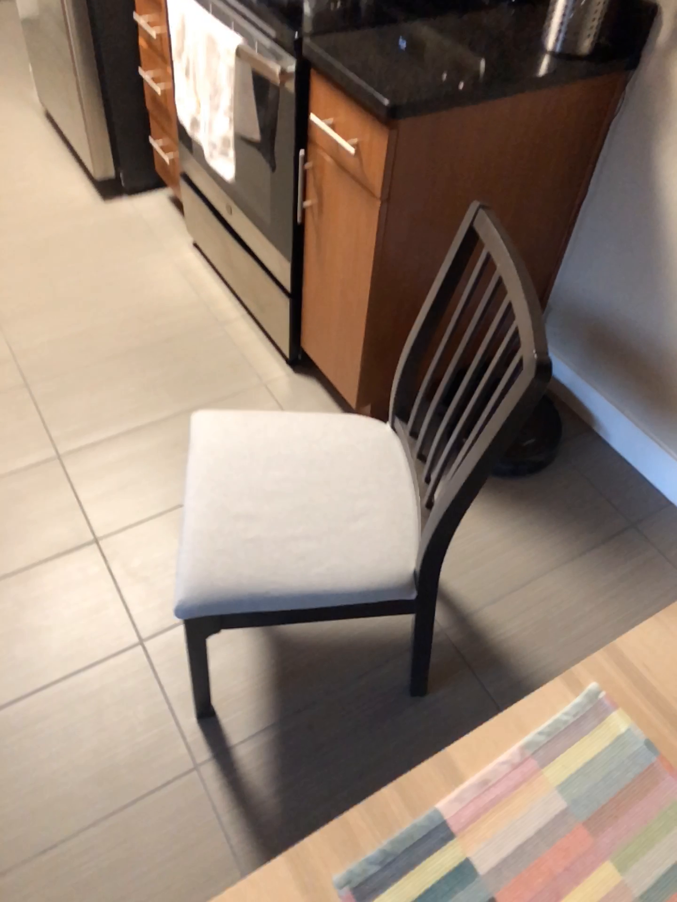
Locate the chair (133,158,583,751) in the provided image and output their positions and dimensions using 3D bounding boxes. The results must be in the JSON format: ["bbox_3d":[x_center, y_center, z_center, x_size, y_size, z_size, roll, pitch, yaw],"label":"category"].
[{"bbox_3d":[-0.016,0.115,1.411,0.510,1.125,0.482,3,48,-3],"label":"chair"}]
